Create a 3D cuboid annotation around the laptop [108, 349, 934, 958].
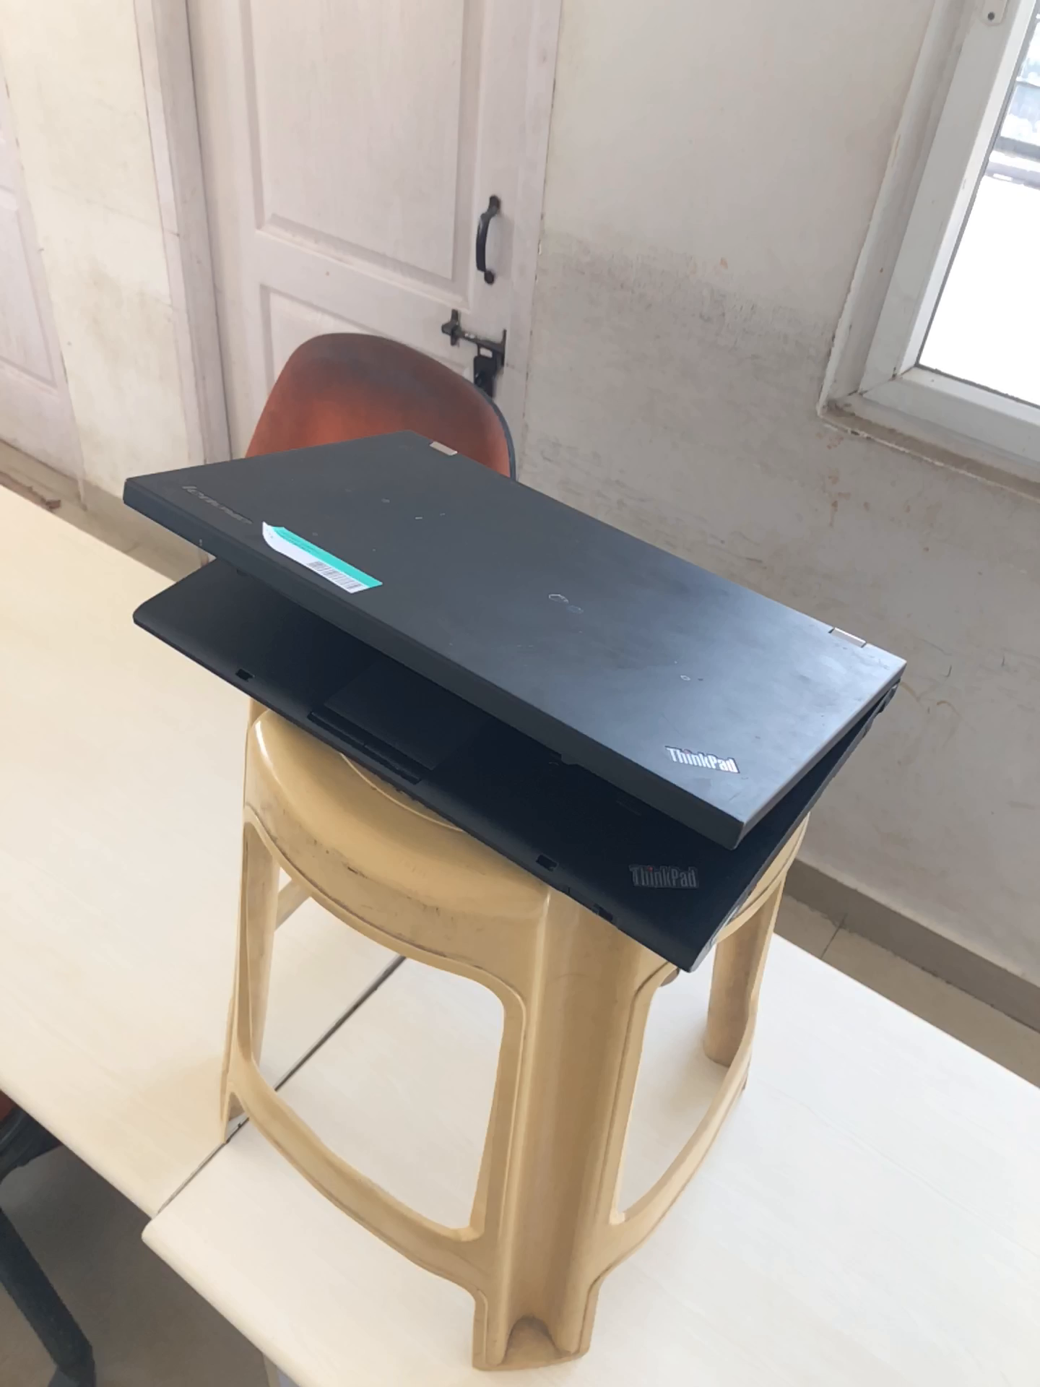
[{"bbox_3d":[-0.002,-0.052,0.627,0.363,0.074,0.235,29,50,23],"label":"laptop"}]
